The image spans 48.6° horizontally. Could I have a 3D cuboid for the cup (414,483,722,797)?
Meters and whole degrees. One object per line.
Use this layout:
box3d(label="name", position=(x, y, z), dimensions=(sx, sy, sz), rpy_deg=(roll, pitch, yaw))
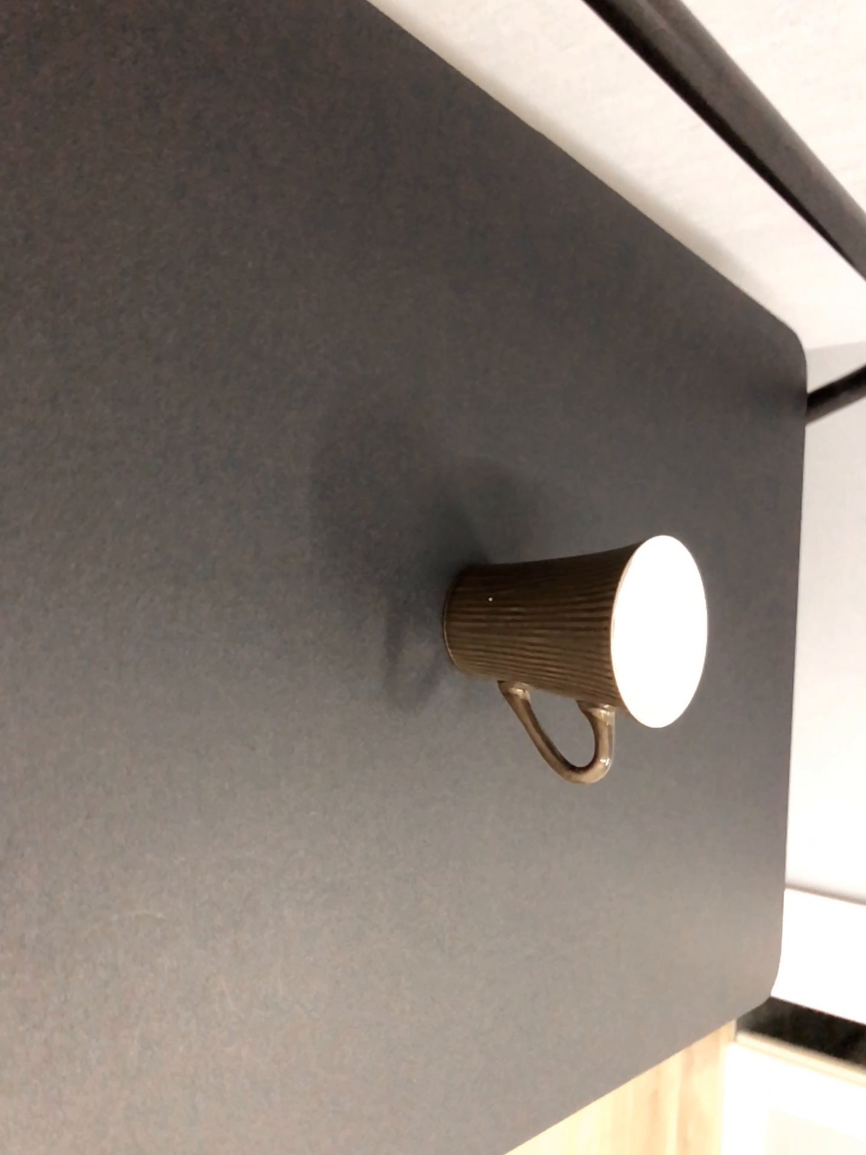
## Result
box3d(label="cup", position=(0.048, 0.022, 0.329), dimensions=(0.066, 0.069, 0.089), rpy_deg=(20, 75, -47))
